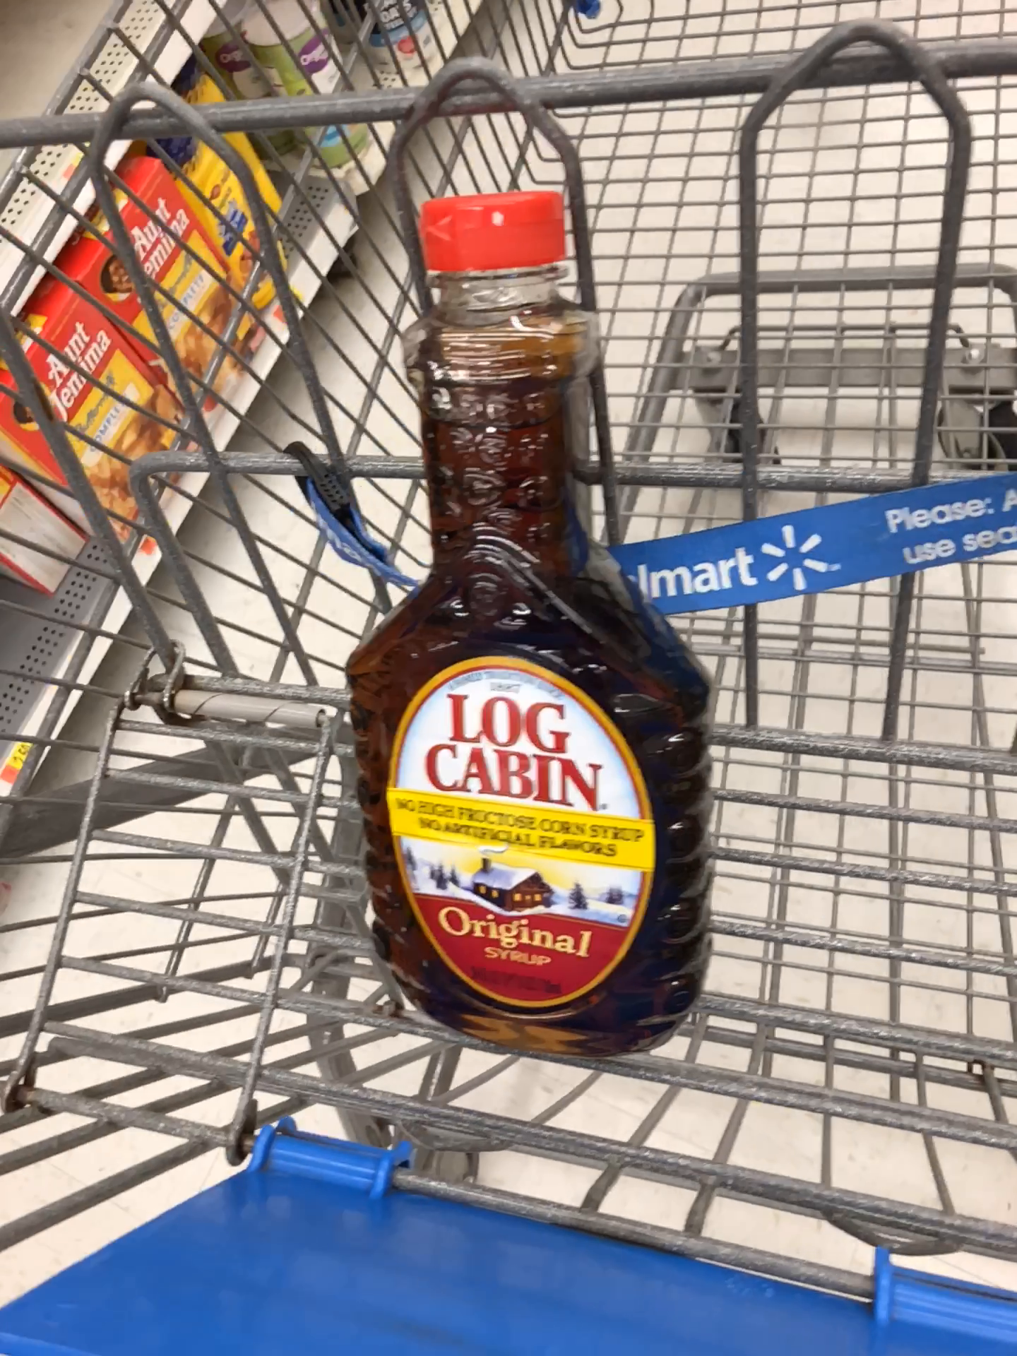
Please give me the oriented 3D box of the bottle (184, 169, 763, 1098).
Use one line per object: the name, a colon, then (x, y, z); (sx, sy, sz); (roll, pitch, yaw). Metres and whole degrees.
bottle: (0.004, -0.003, 0.312); (0.120, 0.240, 0.060); (4, 29, 18)
